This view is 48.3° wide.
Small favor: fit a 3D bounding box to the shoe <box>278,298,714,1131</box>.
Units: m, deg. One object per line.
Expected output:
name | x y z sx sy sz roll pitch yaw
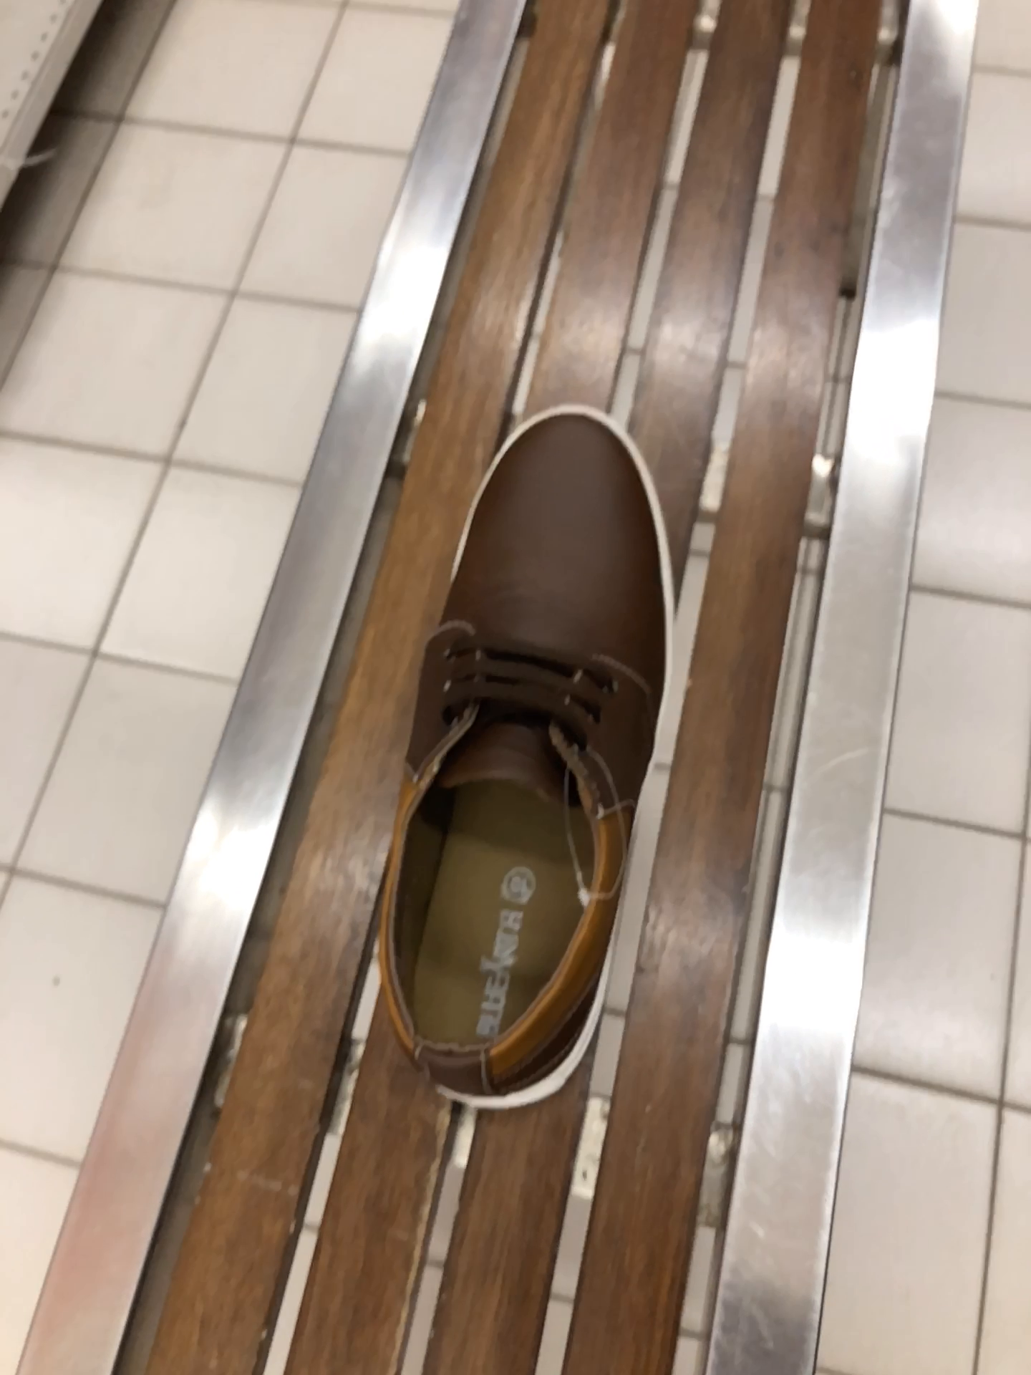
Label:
shoe | 0.005 0.002 0.458 0.100 0.080 0.311 9 70 9
